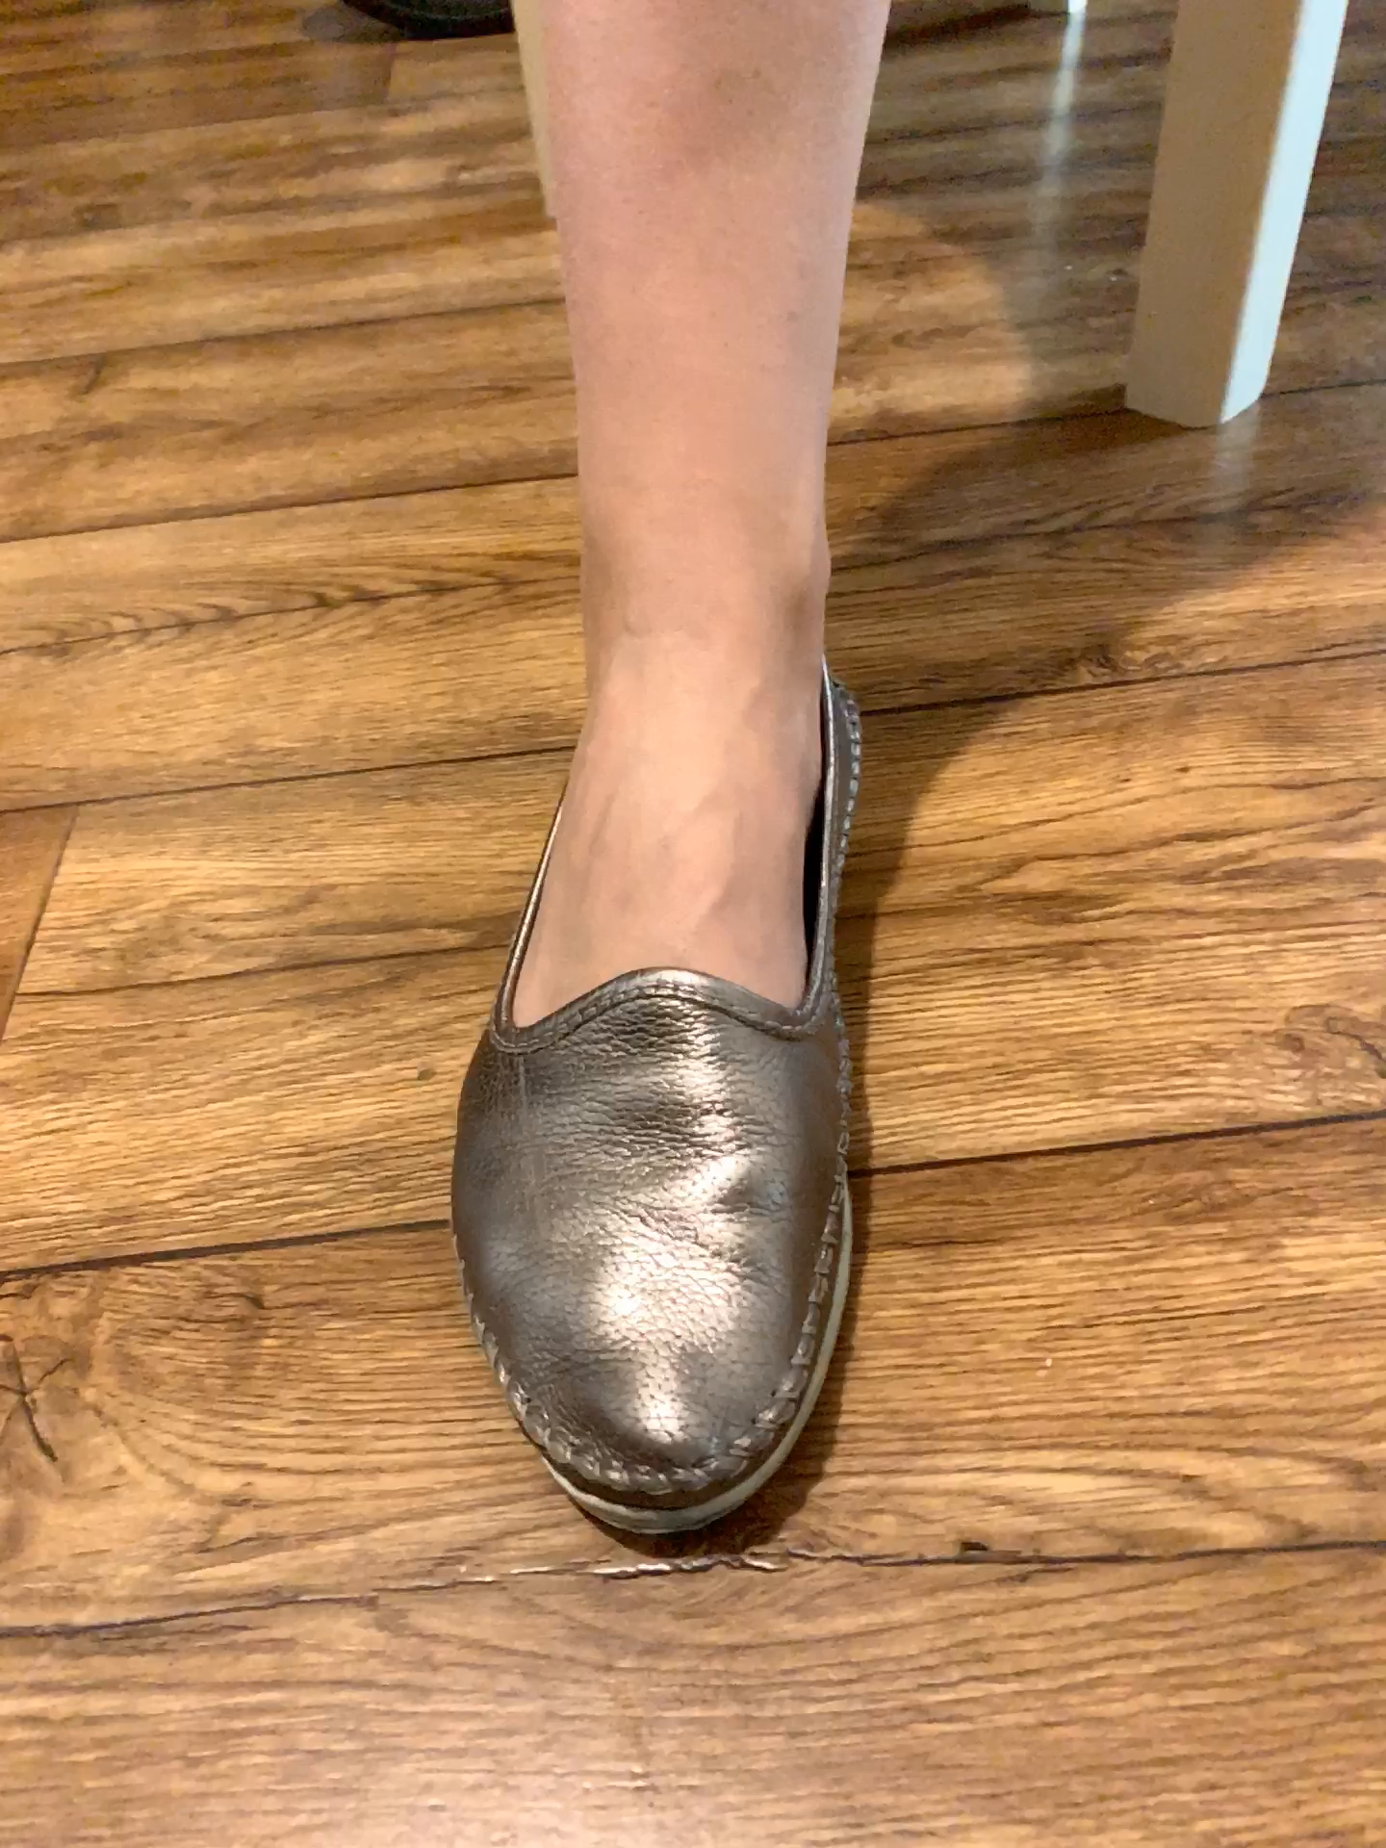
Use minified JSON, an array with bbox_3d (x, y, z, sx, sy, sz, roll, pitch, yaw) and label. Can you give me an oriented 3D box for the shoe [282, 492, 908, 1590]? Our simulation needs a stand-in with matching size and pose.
[{"bbox_3d":[-0.003,0.010,0.313,0.095,0.070,0.231,1,55,9],"label":"shoe"}]
